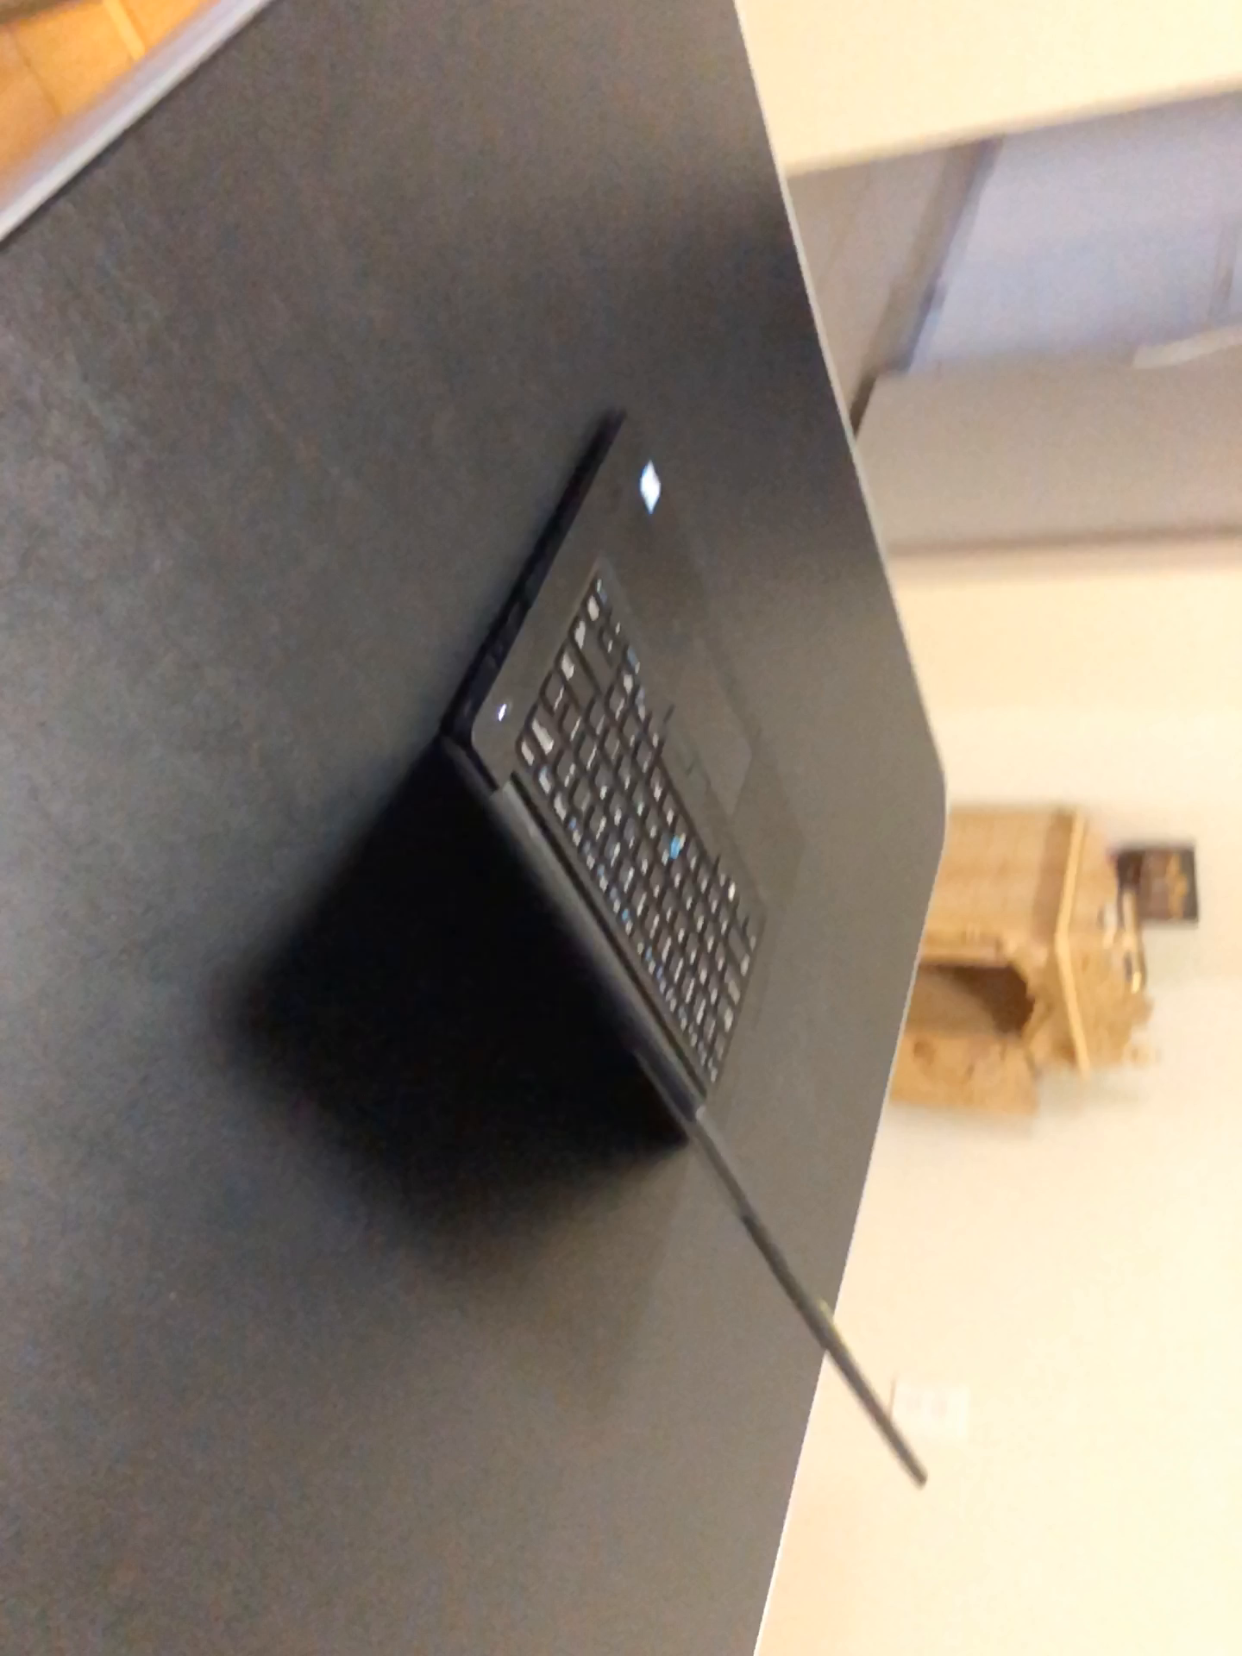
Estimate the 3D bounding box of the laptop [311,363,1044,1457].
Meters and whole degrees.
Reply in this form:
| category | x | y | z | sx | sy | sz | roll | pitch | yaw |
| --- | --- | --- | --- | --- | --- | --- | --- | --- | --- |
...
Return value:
| category | x | y | z | sx | sy | sz | roll | pitch | yaw |
| --- | --- | --- | --- | --- | --- | --- | --- | --- | --- |
| laptop | 0.075 | 0.037 | 0.640 | 0.321 | 0.140 | 0.368 | 62 | 40 | -43 |
